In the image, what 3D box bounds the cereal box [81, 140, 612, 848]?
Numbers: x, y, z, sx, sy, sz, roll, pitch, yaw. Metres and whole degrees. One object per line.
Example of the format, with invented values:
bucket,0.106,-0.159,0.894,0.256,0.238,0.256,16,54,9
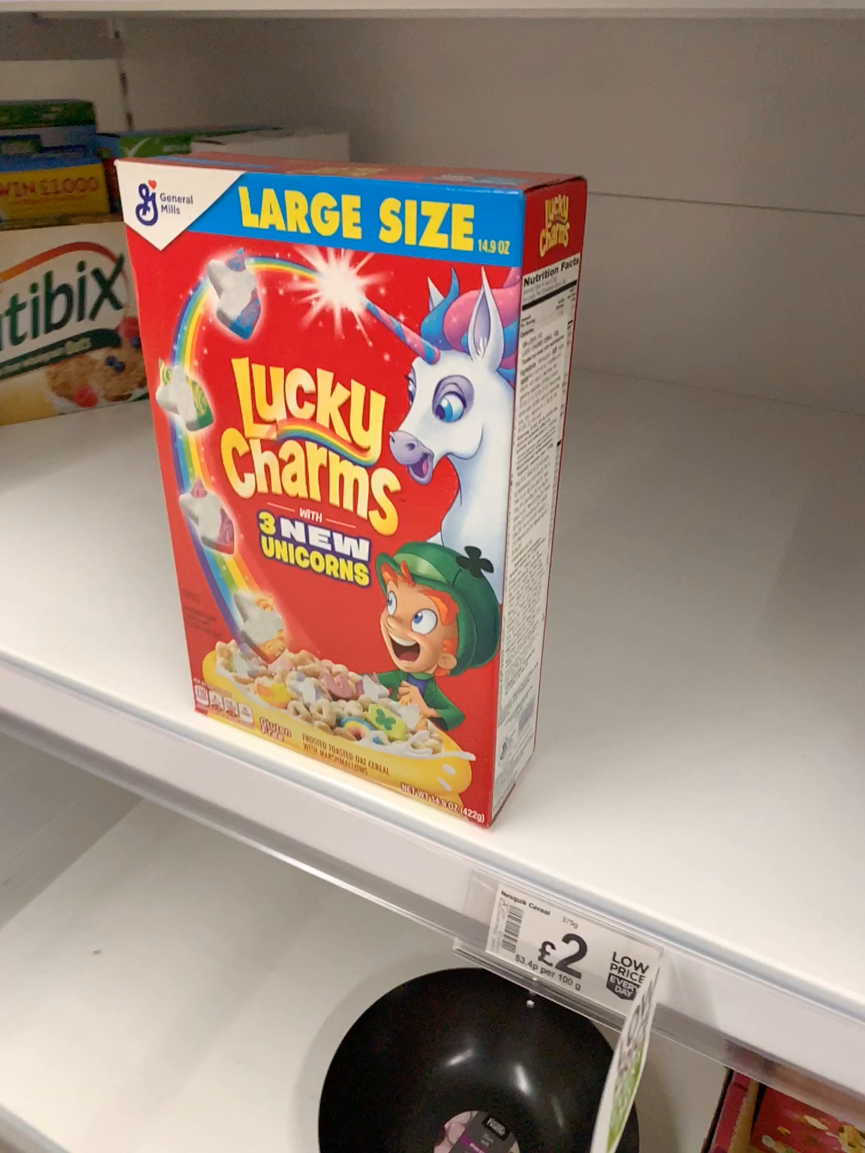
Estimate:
cereal box,-0.043,-0.039,0.431,0.210,0.297,0.070,16,32,24
